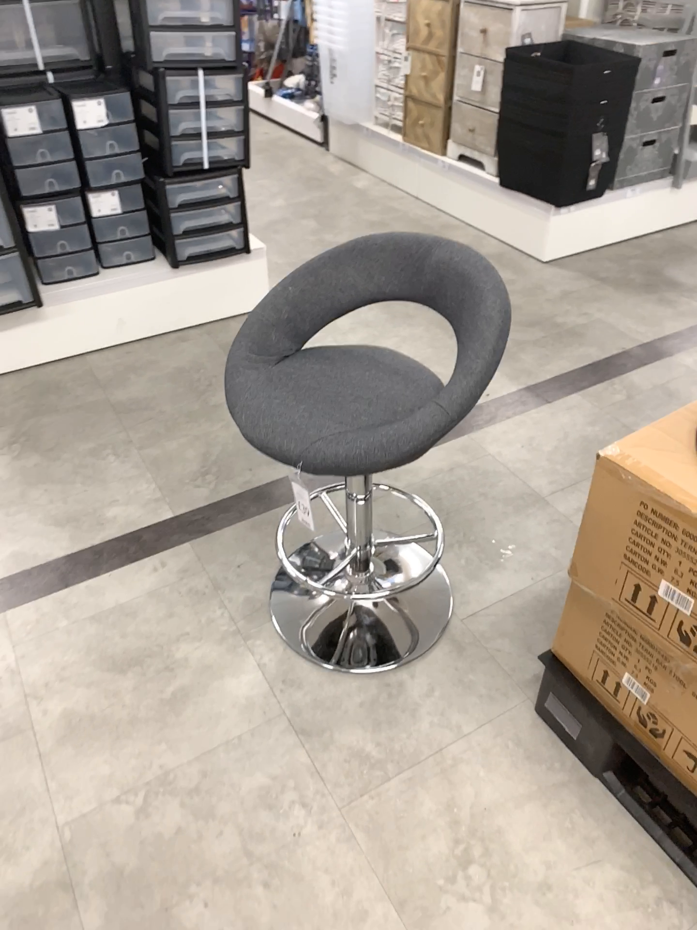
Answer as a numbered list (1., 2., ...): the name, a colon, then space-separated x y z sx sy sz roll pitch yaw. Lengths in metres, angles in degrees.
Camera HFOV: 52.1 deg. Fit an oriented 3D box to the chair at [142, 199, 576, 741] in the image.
1. chair: -0.001 -0.007 1.415 0.487 0.787 0.550 -24 44 -27
